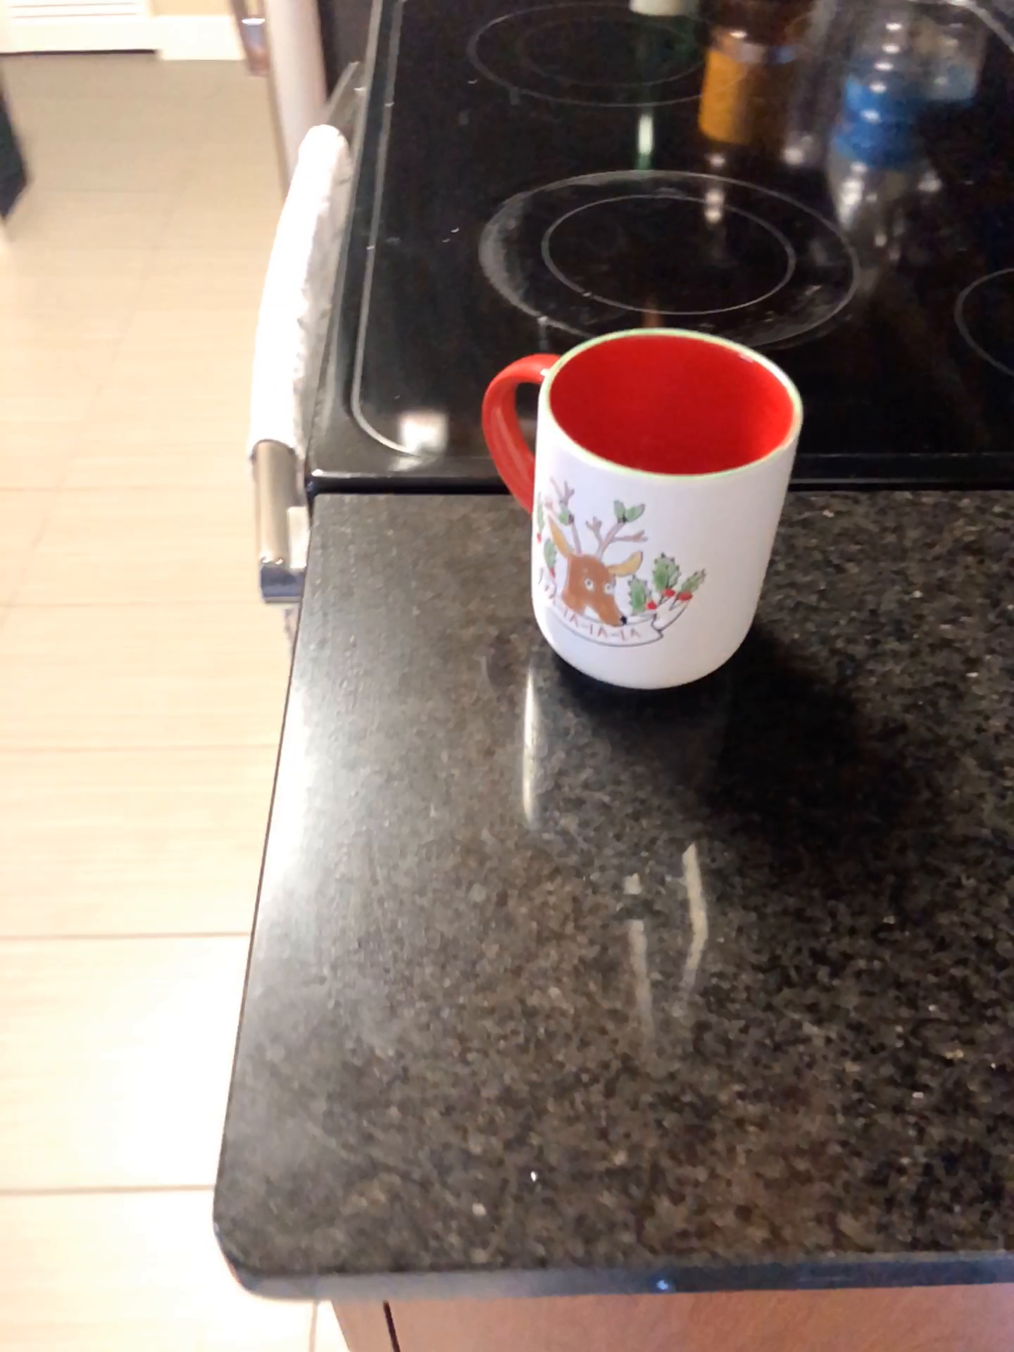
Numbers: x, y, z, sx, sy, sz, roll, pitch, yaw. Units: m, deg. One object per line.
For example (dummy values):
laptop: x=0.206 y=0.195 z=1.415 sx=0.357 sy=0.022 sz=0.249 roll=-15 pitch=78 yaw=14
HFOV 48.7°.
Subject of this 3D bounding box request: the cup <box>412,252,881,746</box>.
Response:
cup: x=0.045 y=-0.069 z=0.418 sx=0.130 sy=0.110 sz=0.090 roll=35 pitch=55 yaw=28
